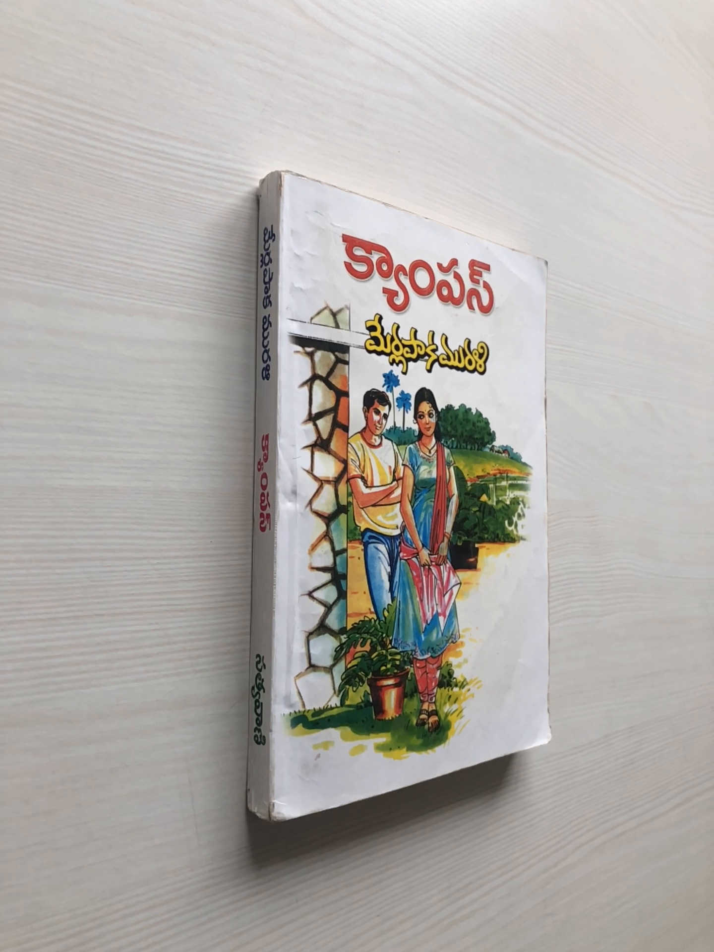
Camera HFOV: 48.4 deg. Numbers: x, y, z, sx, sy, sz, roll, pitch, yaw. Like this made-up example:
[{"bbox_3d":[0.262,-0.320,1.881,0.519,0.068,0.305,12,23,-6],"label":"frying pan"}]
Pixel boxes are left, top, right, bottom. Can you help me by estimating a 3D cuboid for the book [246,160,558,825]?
[{"bbox_3d":[0.020,0.005,0.239,0.113,0.016,0.163,3,87,-41],"label":"book"}]
